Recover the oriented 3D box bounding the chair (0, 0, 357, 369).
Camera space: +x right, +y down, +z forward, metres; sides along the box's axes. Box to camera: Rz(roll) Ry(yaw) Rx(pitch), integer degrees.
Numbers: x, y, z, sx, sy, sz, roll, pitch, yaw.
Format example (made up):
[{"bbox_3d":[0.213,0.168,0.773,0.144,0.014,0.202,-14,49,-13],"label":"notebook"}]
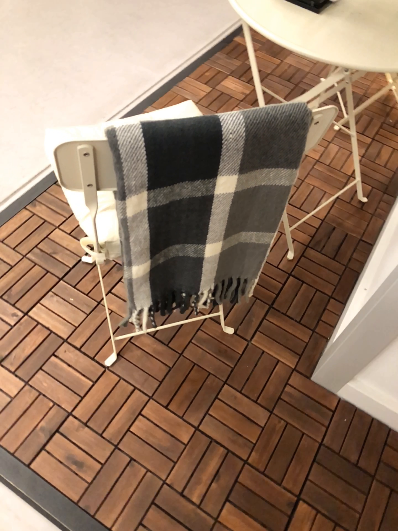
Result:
[{"bbox_3d":[-0.134,-0.209,0.961,0.490,0.736,0.512,-12,57,-15],"label":"chair"}]
